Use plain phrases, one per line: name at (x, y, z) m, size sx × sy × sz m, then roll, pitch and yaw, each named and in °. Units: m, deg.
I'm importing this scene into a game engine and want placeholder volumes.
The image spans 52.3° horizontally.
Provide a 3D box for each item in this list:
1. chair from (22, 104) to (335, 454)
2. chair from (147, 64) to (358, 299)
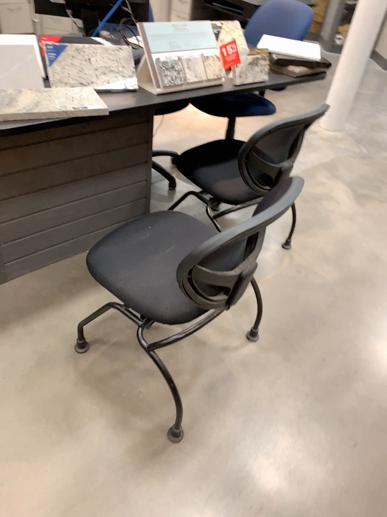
chair at (-0.050, 0.039, 1.299) m, size 0.595 × 0.777 × 0.606 m, roll 29°, pitch 44°, yaw 22°
chair at (0.216, -0.380, 1.841) m, size 0.596 × 0.777 × 0.586 m, roll -27°, pitch 51°, yaw -35°
